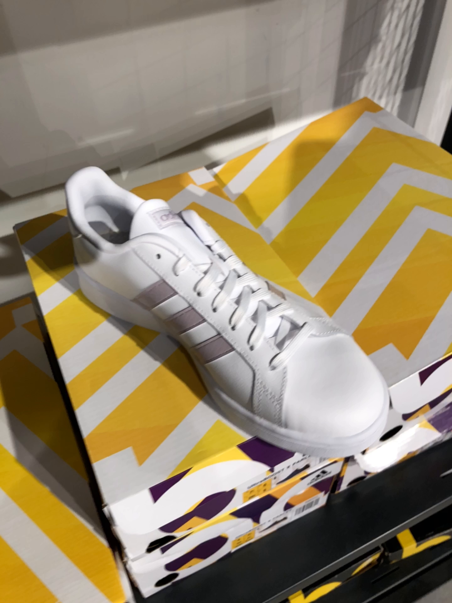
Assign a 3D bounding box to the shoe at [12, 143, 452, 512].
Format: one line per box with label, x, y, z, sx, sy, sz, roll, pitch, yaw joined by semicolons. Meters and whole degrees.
shoe;-0.009;-0.003;0.363;0.290;0.090;0.110;31;56;27
